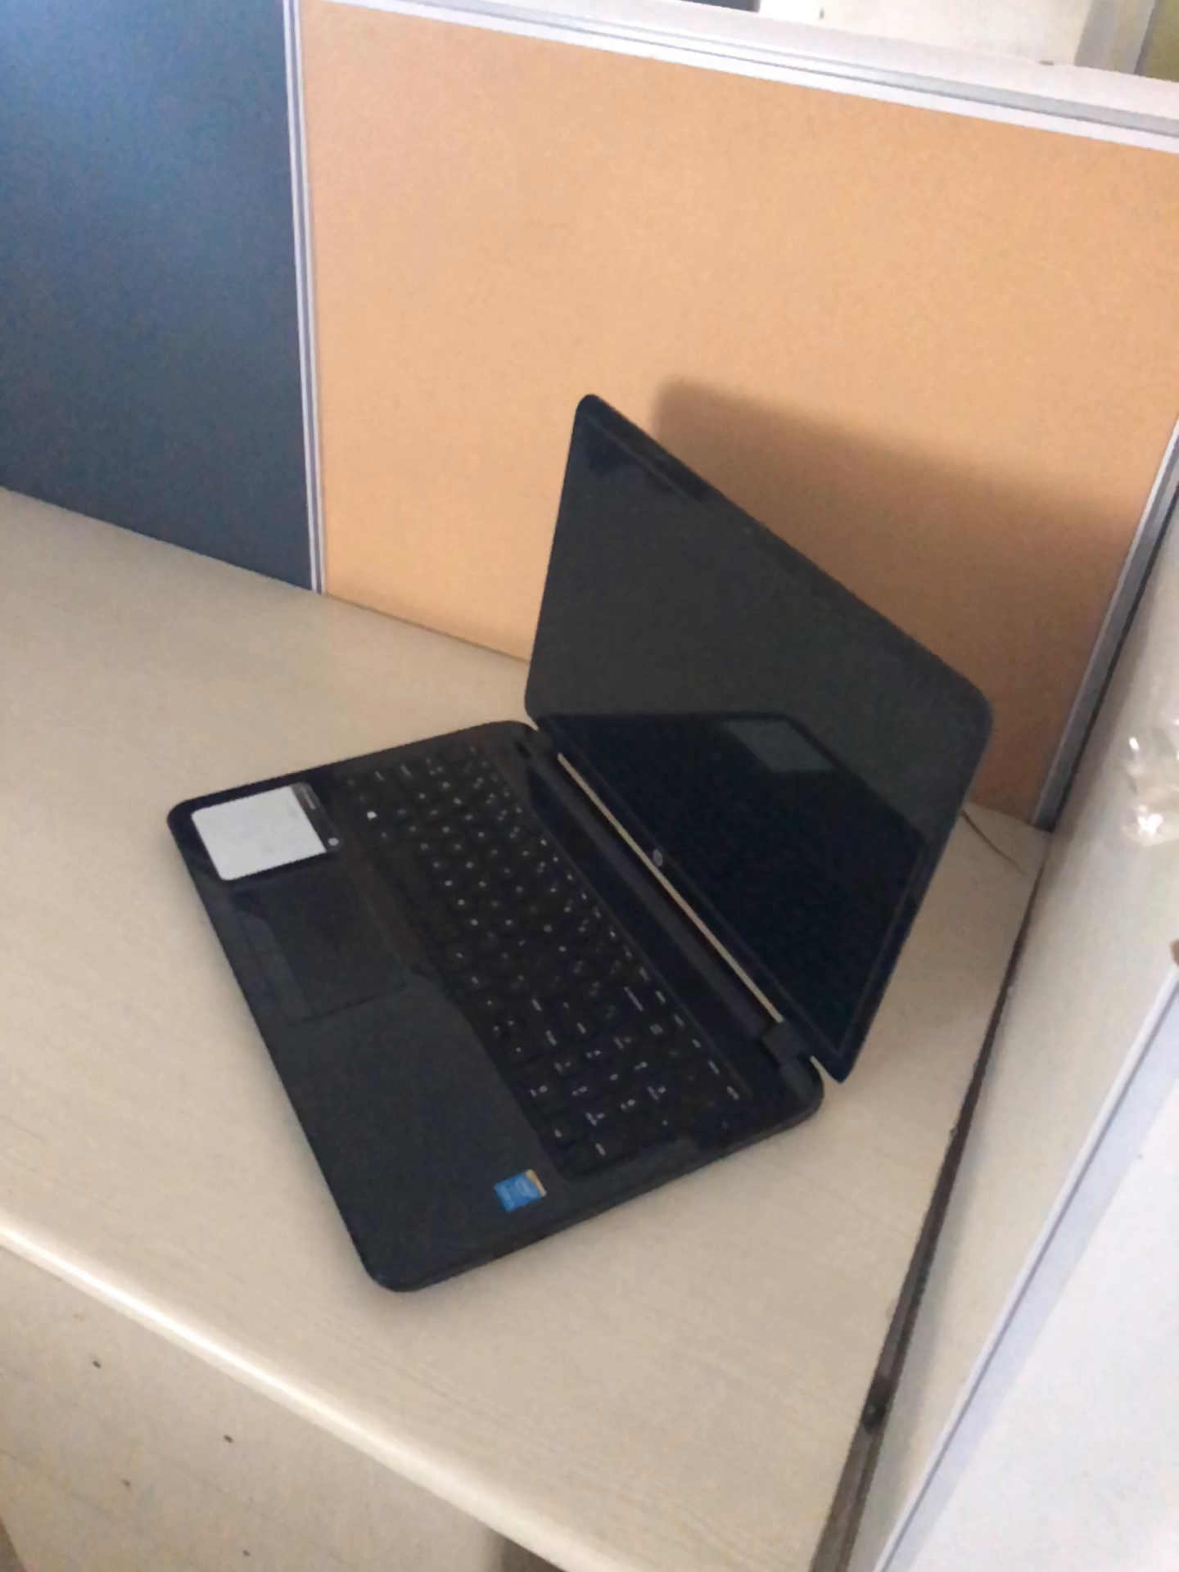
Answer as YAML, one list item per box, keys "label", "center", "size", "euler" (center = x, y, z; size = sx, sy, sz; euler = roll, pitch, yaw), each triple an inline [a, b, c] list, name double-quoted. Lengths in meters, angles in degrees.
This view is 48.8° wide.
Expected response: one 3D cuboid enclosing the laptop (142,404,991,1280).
- label: "laptop"
  center: [-0.041, -0.005, 0.679]
  size: [0.265, 0.225, 0.352]
  euler: [-16, 43, -24]
